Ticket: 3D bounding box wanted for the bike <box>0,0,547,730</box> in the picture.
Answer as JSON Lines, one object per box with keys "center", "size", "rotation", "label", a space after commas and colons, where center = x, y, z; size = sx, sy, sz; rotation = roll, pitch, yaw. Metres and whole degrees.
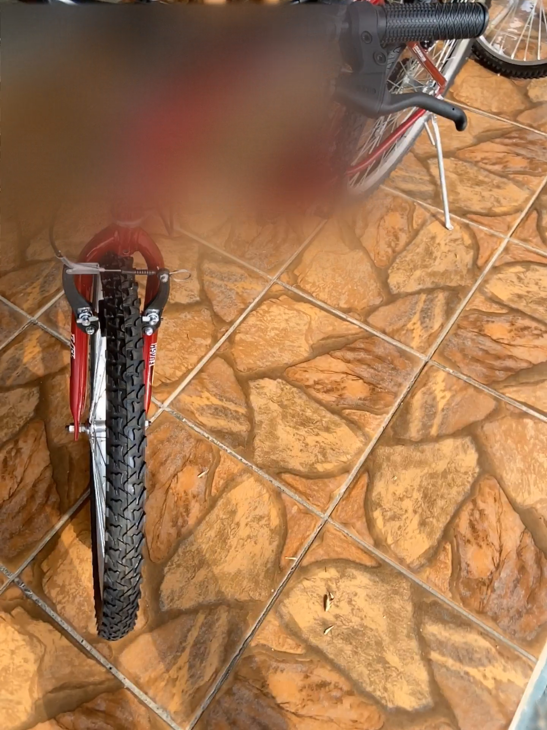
{"center": [0.167, -0.306, 0.940], "size": [0.599, 0.987, 1.561], "rotation": [23, 65, 19], "label": "bike"}
